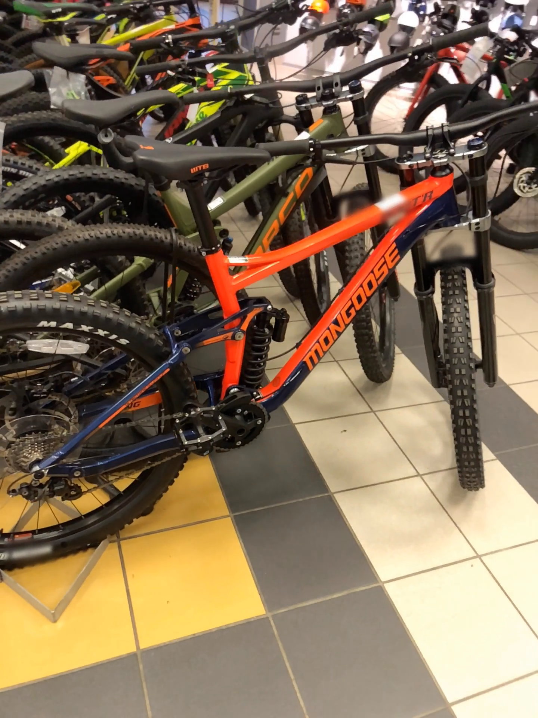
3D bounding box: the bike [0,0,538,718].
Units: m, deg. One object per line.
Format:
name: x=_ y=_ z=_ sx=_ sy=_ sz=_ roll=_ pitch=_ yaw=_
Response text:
bike: x=-0.079 y=-0.236 z=1.440 sx=1.702 sy=1.109 sz=0.803 roll=-17 pitch=41 yaw=-28
